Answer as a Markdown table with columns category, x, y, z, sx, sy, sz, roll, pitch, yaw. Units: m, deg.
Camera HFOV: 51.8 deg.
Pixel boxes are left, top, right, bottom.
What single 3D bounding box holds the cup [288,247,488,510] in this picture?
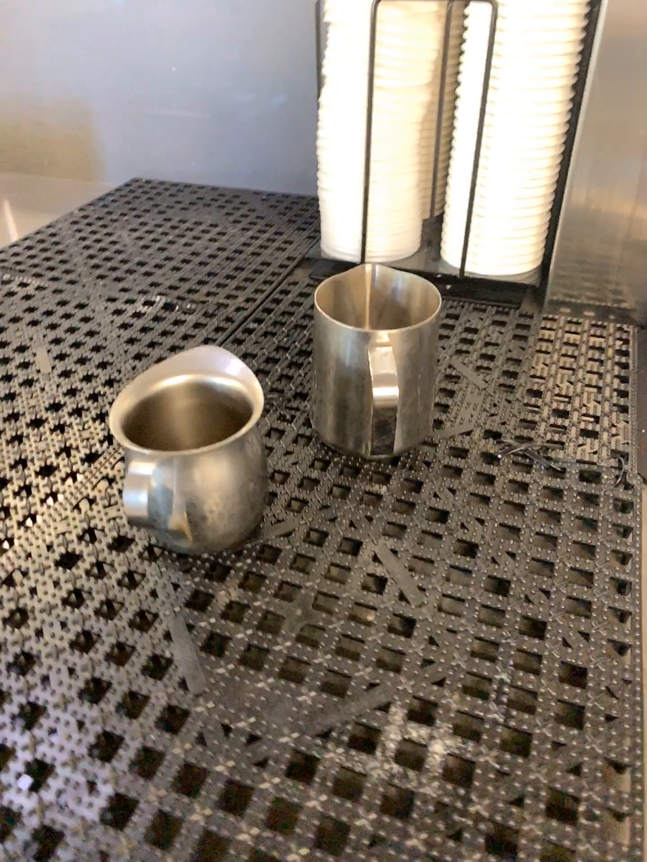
| category | x | y | z | sx | sy | sz | roll | pitch | yaw |
| --- | --- | --- | --- | --- | --- | --- | --- | --- | --- |
| cup | 0.030 | -0.032 | 0.339 | 0.080 | 0.080 | 0.121 | 1 | 37 | 3 |

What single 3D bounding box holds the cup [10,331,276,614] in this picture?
| category | x | y | z | sx | sy | sz | roll | pitch | yaw |
| --- | --- | --- | --- | --- | --- | --- | --- | --- | --- |
| cup | -0.073 | 0.013 | 0.318 | 0.080 | 0.070 | 0.121 | 2 | 37 | 5 |
